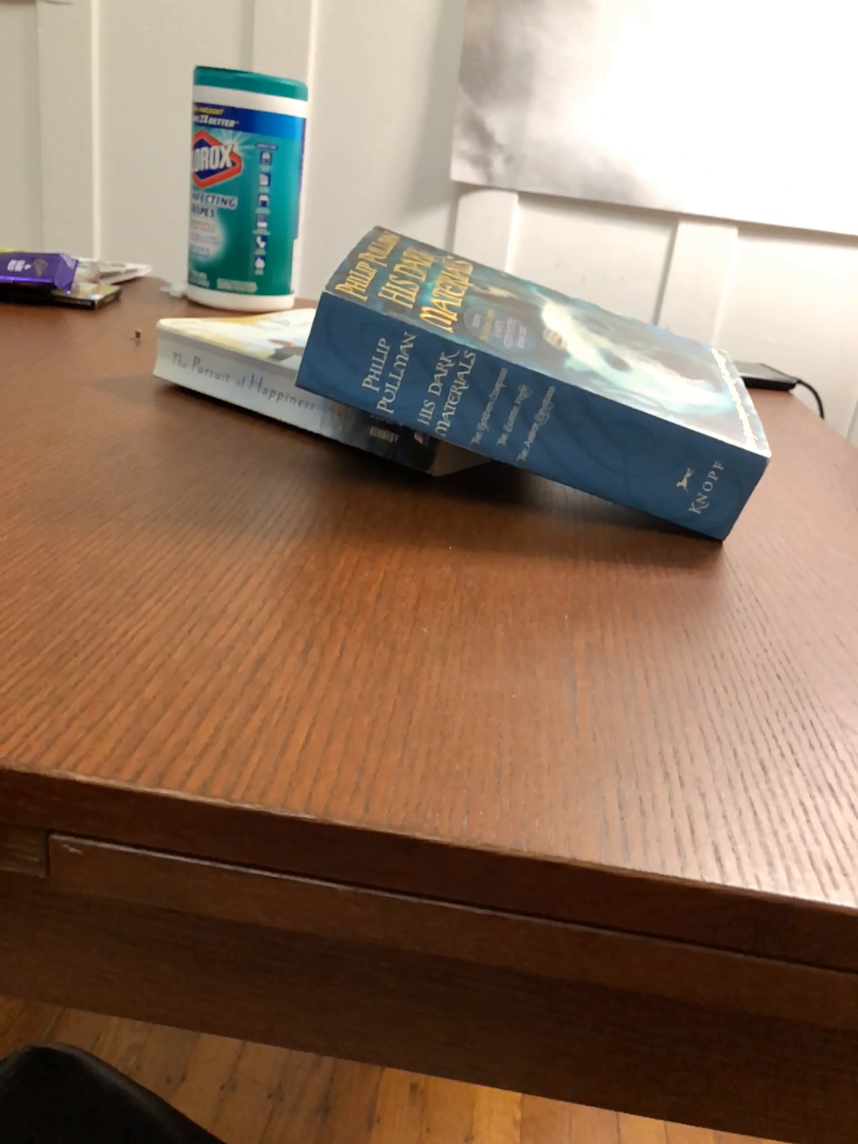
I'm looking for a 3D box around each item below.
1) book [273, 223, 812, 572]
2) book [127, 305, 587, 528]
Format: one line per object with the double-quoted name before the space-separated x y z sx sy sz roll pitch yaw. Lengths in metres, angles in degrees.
"book" 0.057 -0.103 0.508 0.240 0.060 0.171 19 27 -6
"book" -0.048 -0.114 0.612 0.240 0.040 0.171 26 34 31
